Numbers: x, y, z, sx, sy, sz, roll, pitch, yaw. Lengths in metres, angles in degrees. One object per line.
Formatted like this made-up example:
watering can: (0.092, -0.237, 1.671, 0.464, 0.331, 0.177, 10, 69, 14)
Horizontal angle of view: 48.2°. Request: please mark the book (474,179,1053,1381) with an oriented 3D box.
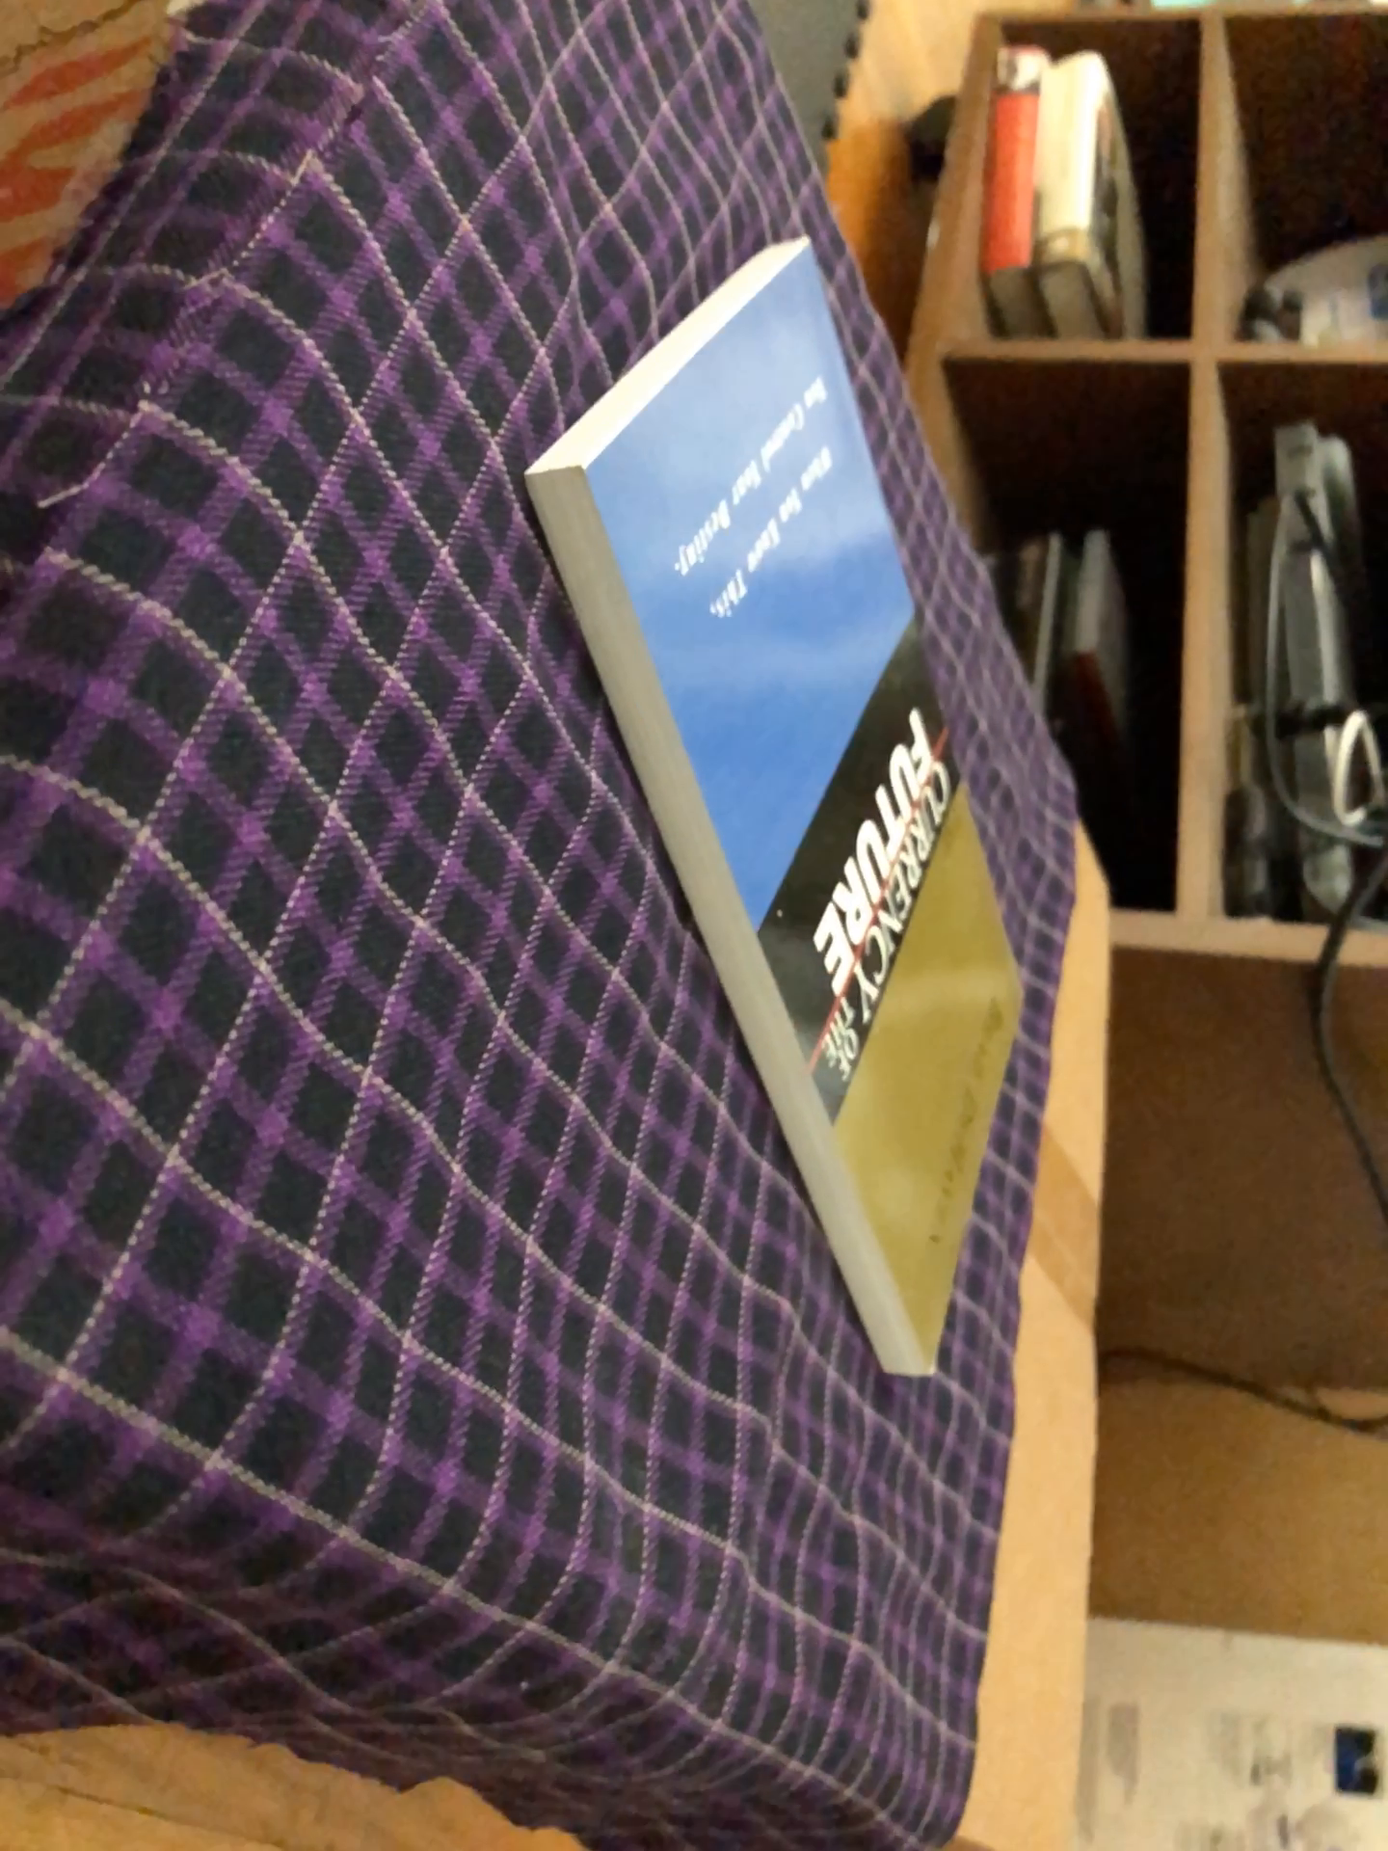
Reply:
book: (0.035, -0.032, 0.345, 0.220, 0.020, 0.151, 67, 31, -30)
